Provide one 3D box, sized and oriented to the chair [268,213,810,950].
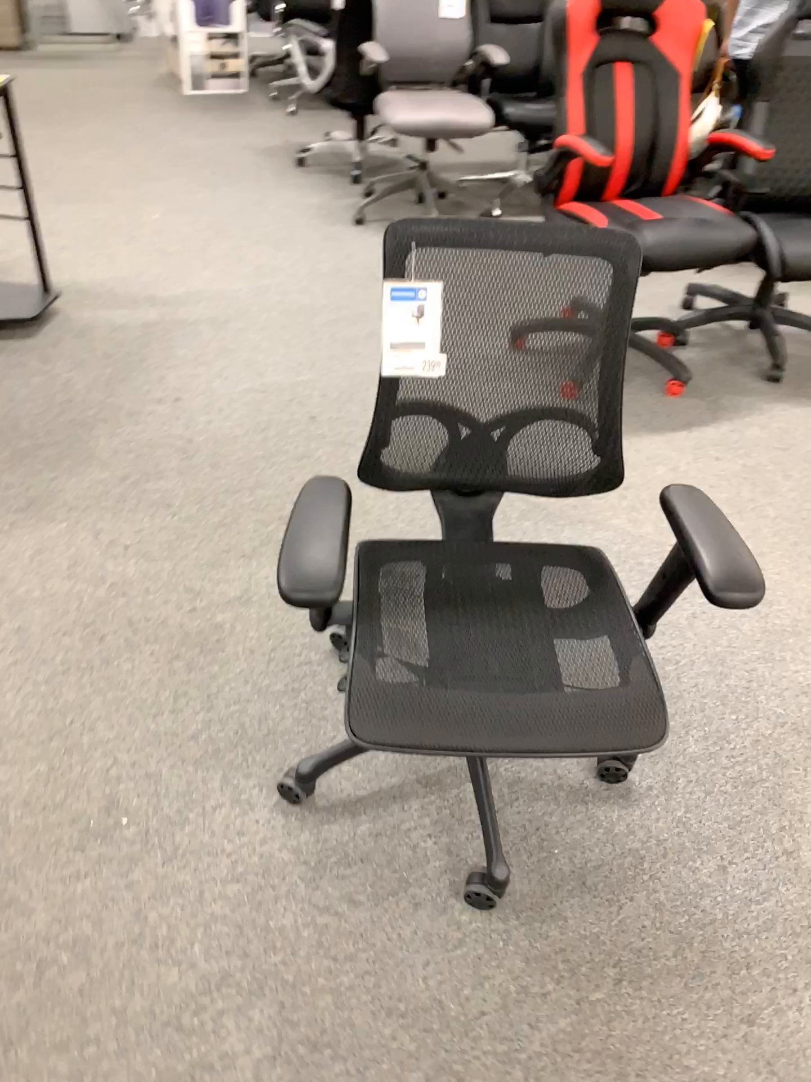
[{"bbox_3d":[0.188,0.033,1.310,0.760,0.805,0.764,-2,40,-9],"label":"chair"}]
